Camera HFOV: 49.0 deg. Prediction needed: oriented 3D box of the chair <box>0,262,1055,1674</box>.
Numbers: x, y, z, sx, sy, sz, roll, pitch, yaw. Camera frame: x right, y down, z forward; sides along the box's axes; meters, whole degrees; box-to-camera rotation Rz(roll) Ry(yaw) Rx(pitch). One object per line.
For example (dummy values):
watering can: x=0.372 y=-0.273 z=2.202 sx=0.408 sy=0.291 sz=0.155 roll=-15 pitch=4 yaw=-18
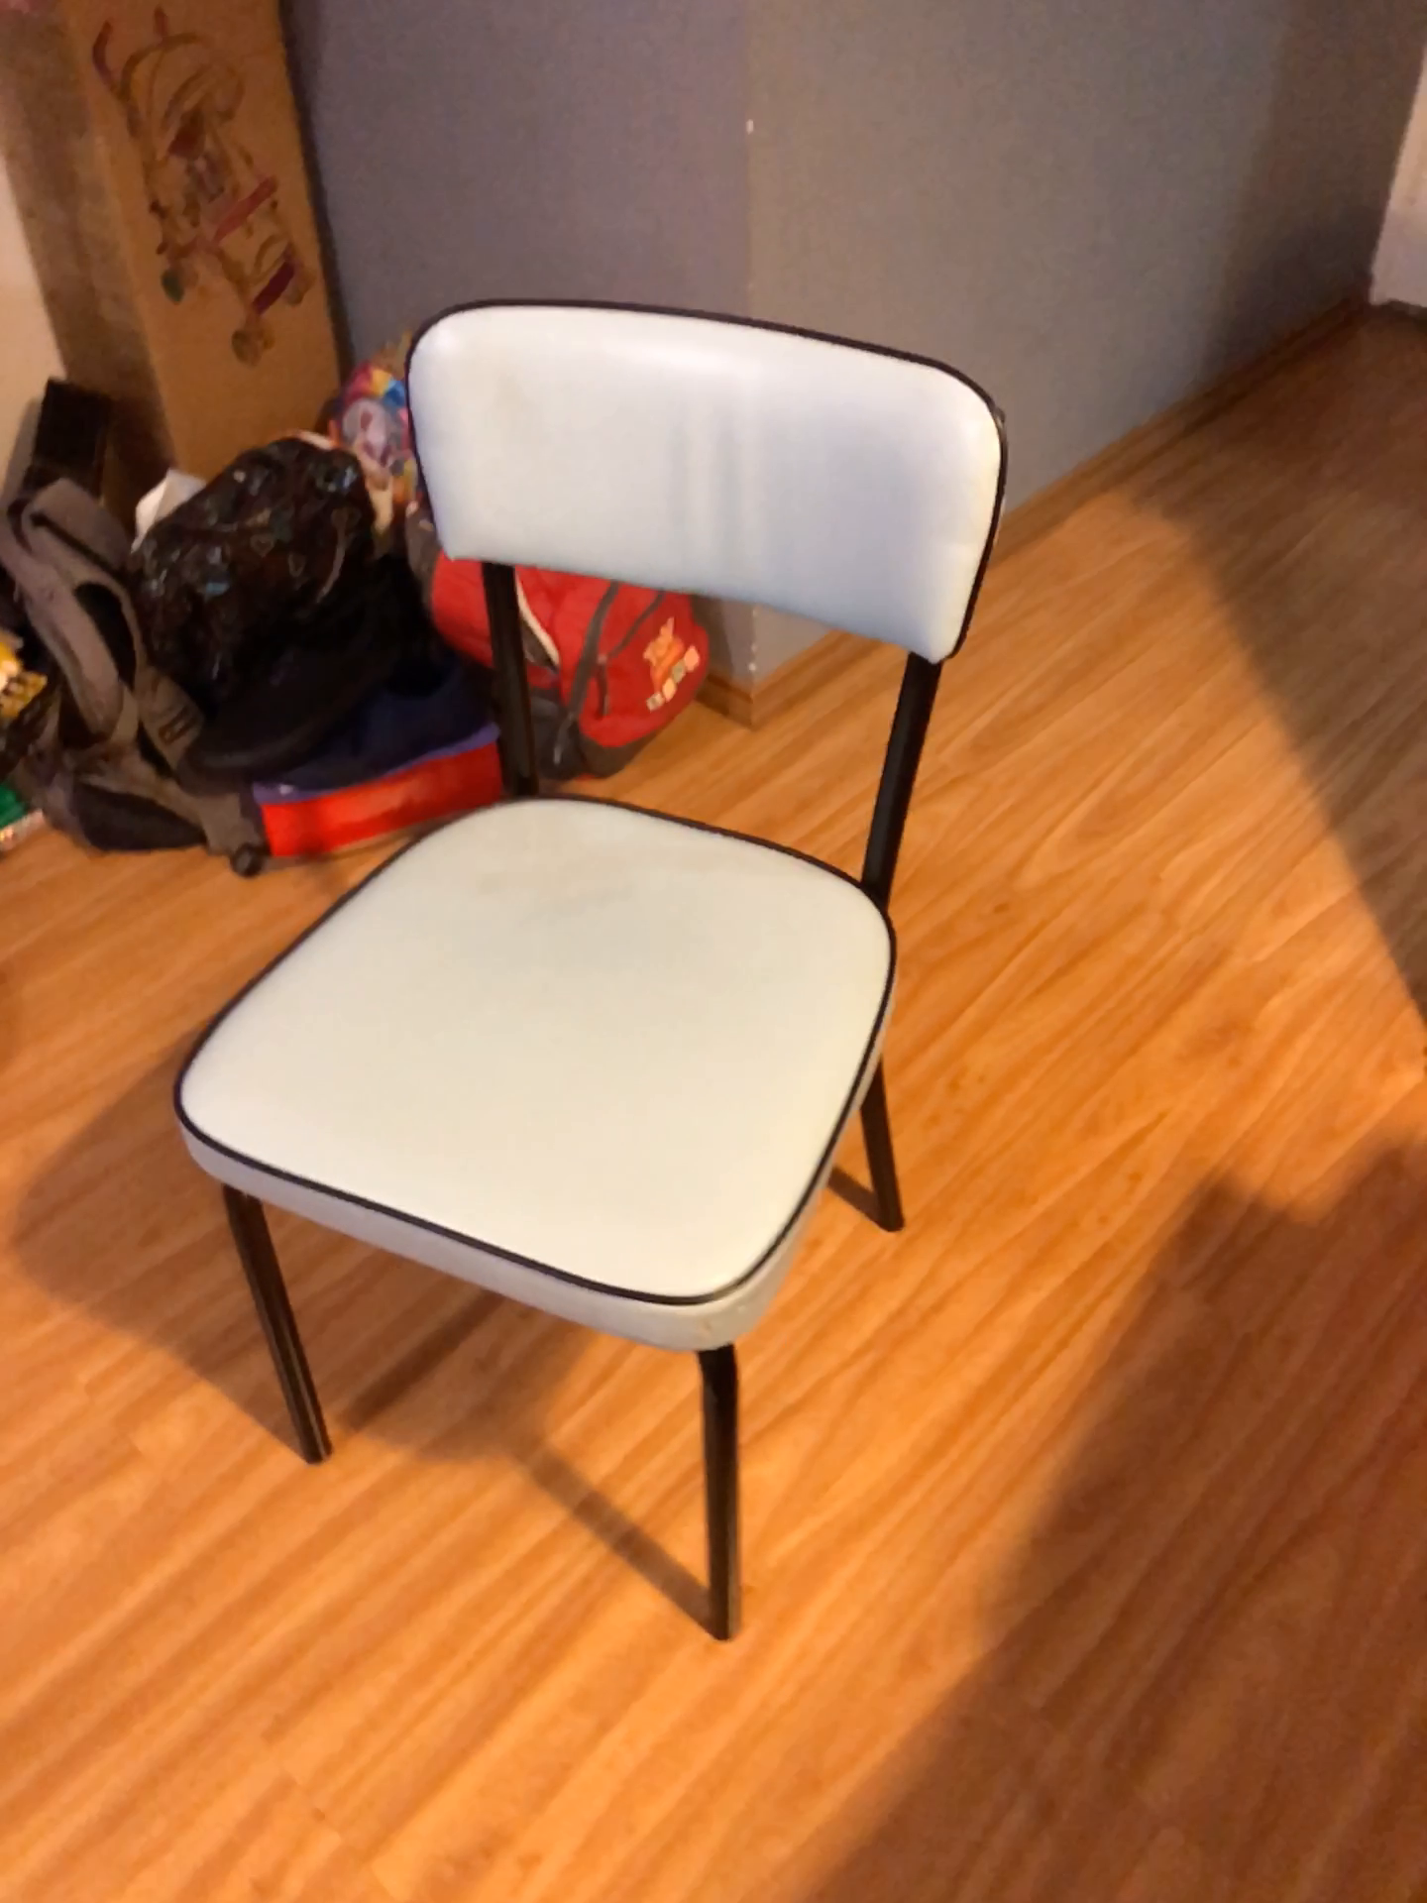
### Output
chair: x=-0.089 y=0.030 z=1.126 sx=0.450 sy=0.794 sz=0.503 roll=16 pitch=47 yaw=19
